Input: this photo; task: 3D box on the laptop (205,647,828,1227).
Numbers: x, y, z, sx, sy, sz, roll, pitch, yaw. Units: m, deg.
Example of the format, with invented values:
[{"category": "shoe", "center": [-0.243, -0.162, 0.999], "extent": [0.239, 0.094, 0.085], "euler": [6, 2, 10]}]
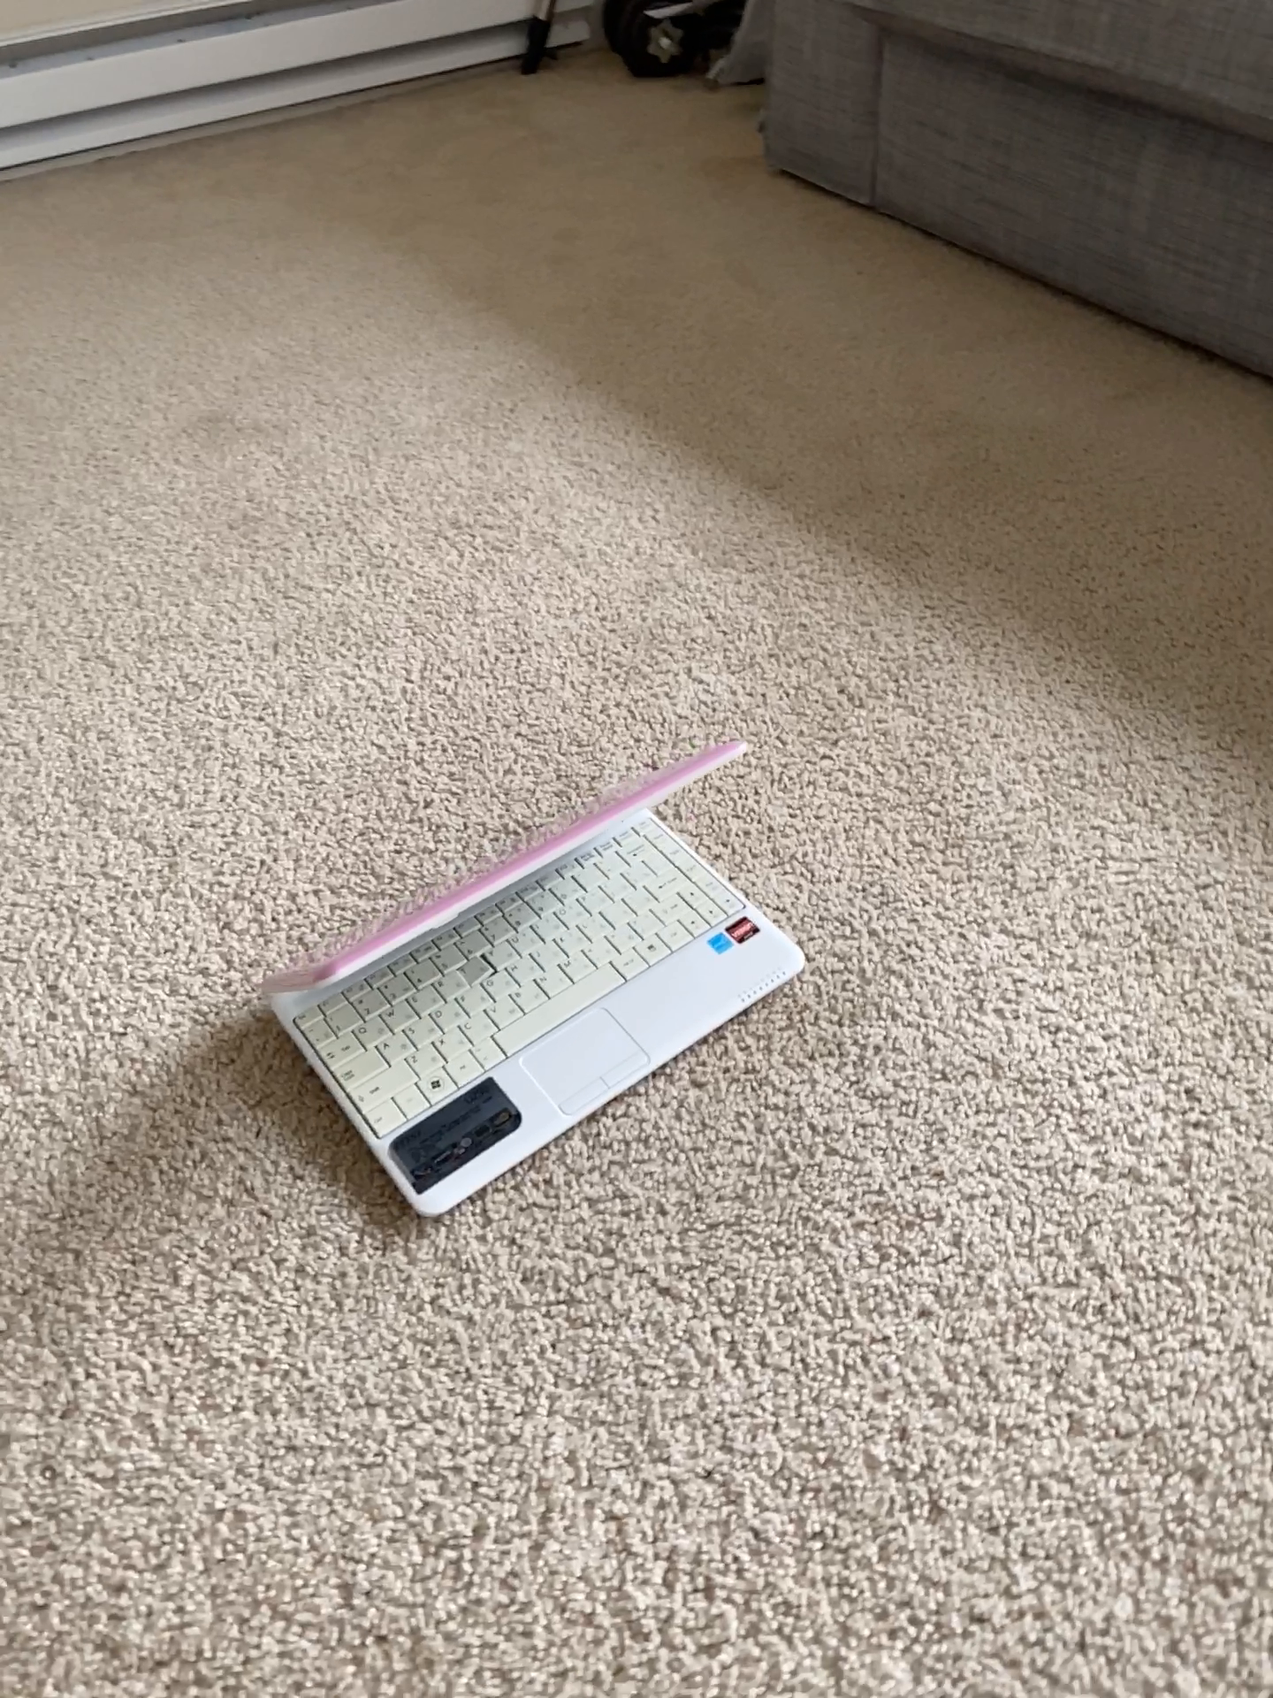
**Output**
[{"category": "laptop", "center": [-0.064, 0.038, 0.783], "extent": [0.297, 0.122, 0.198], "euler": [-30, 53, -23]}]
